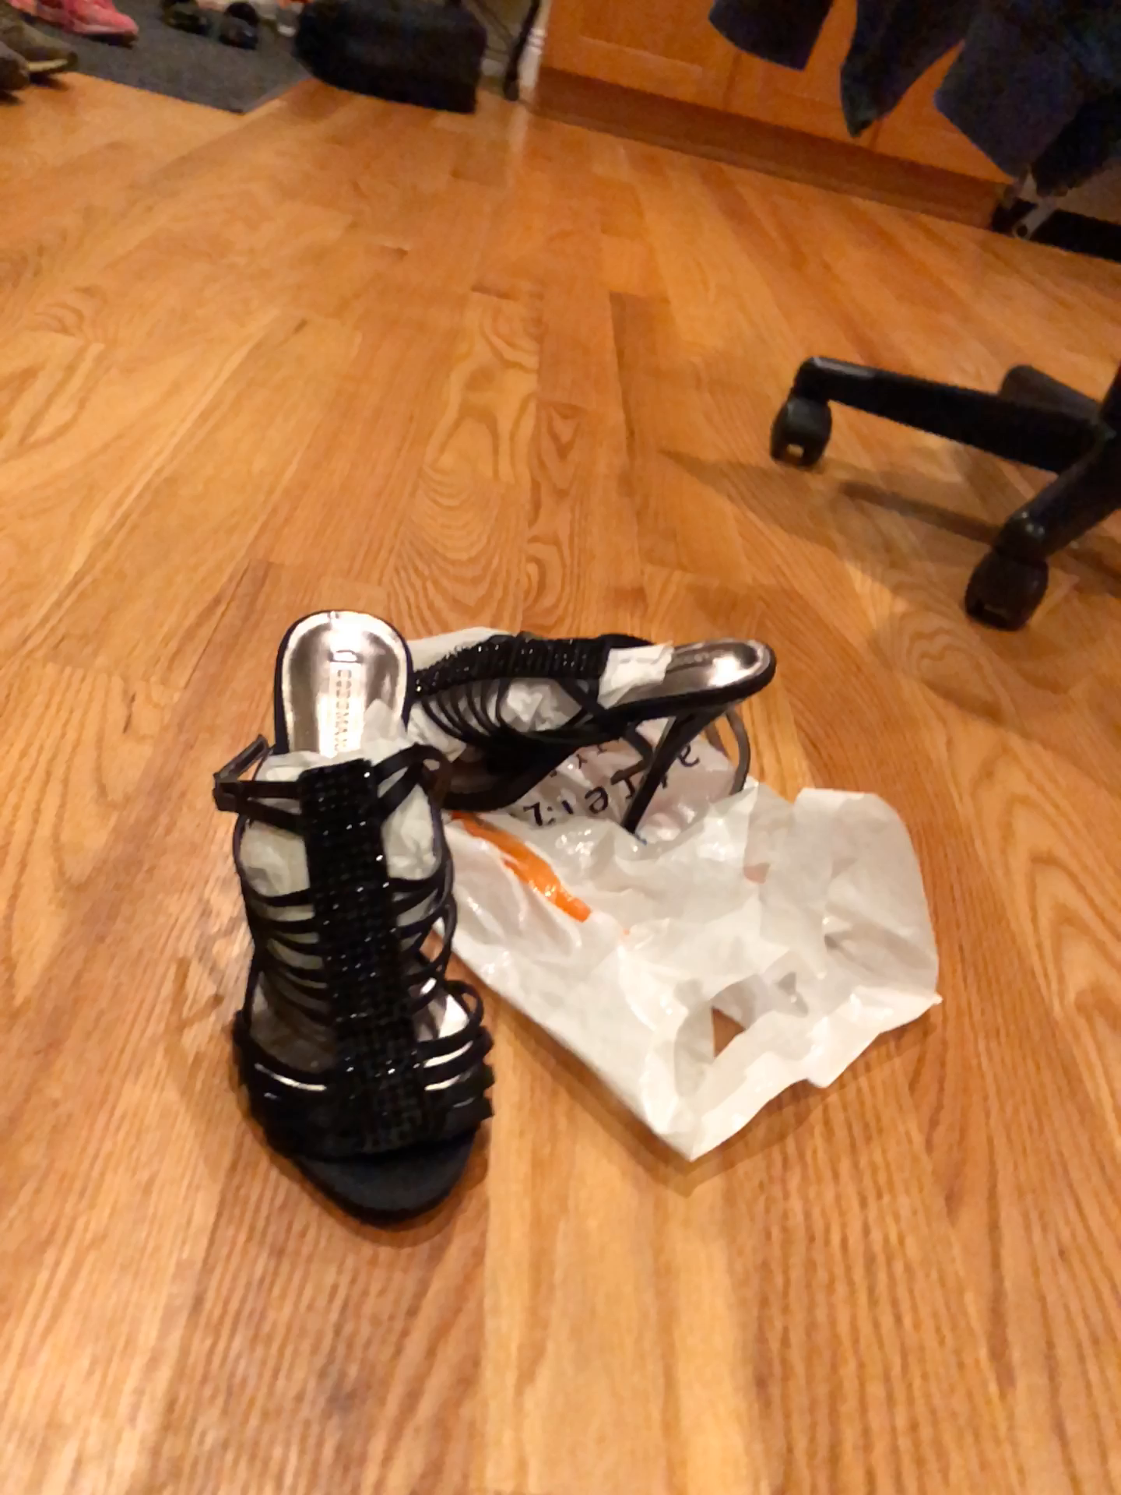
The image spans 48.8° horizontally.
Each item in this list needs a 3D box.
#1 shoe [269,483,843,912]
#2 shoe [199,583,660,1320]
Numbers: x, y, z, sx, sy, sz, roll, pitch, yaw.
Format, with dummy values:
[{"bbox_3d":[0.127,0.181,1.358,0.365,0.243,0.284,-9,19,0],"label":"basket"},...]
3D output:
[{"bbox_3d":[-0.004,-0.023,0.546,0.217,0.112,0.092,13,31,-2],"label":"shoe"},{"bbox_3d":[-0.061,0.049,0.409,0.090,0.112,0.218,1,34,-22],"label":"shoe"}]
